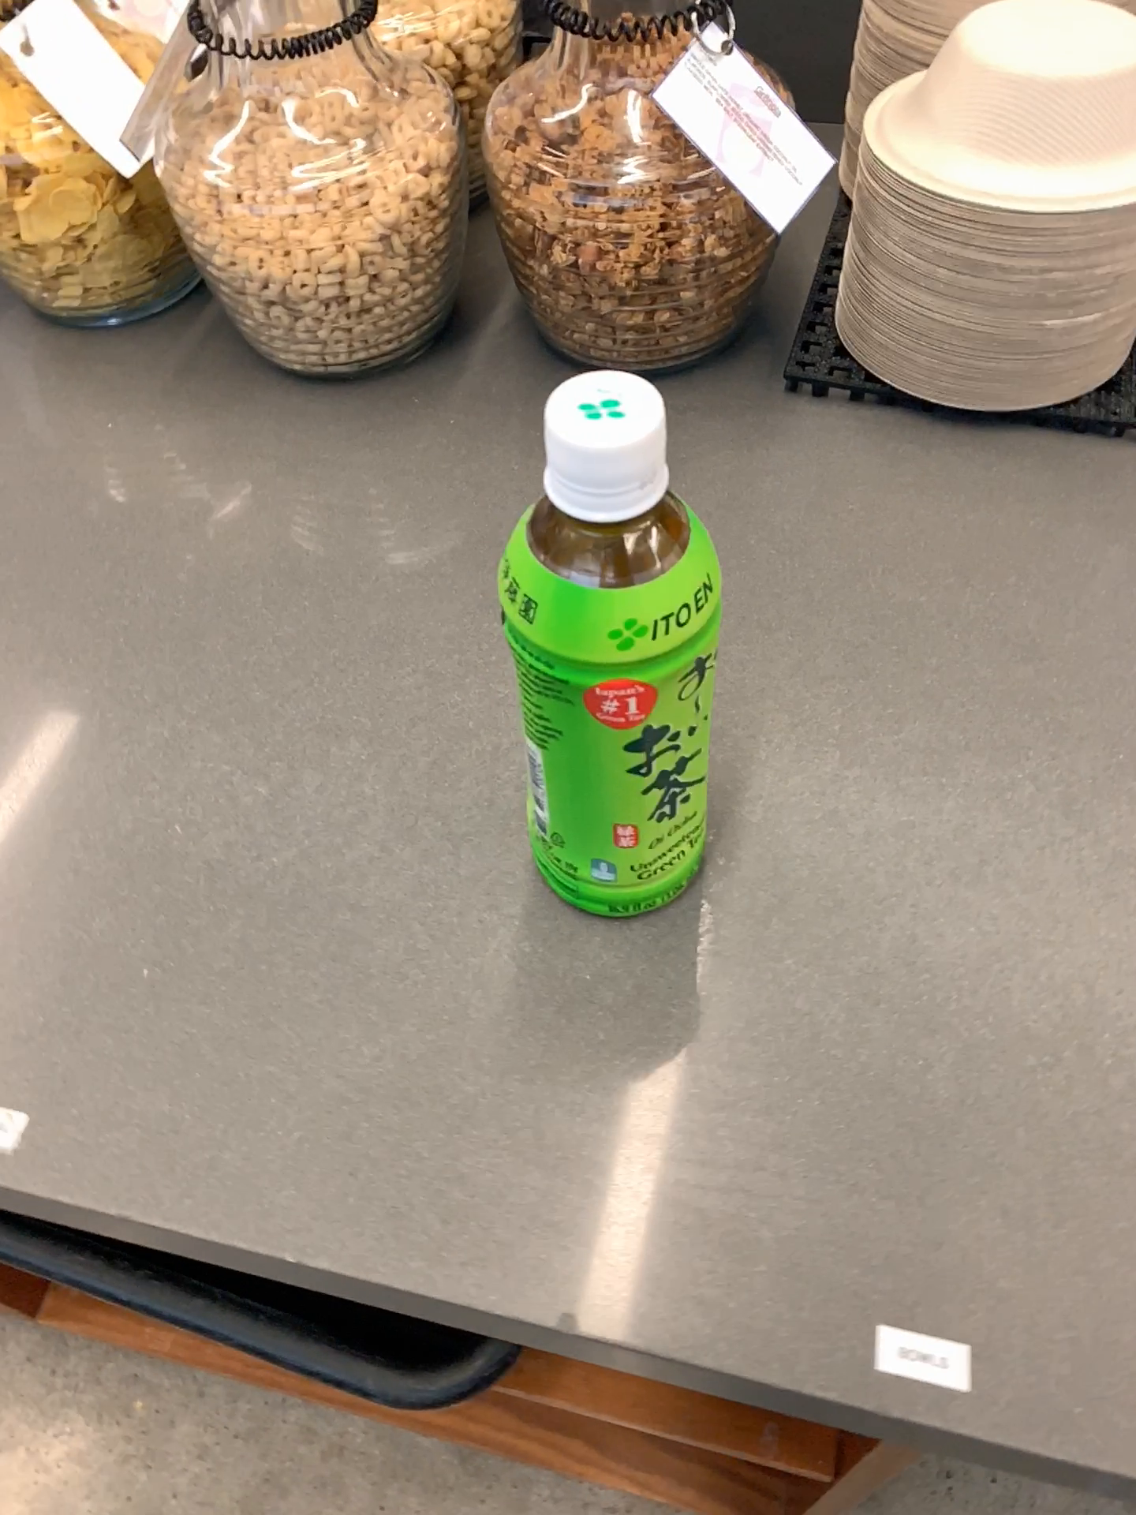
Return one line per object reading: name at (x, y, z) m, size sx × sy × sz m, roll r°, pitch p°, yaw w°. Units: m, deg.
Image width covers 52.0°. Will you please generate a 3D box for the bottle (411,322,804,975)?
bottle at (0.014, -0.021, 0.371) m, size 0.070 × 0.199 × 0.070 m, roll -2°, pitch 53°, yaw 3°
